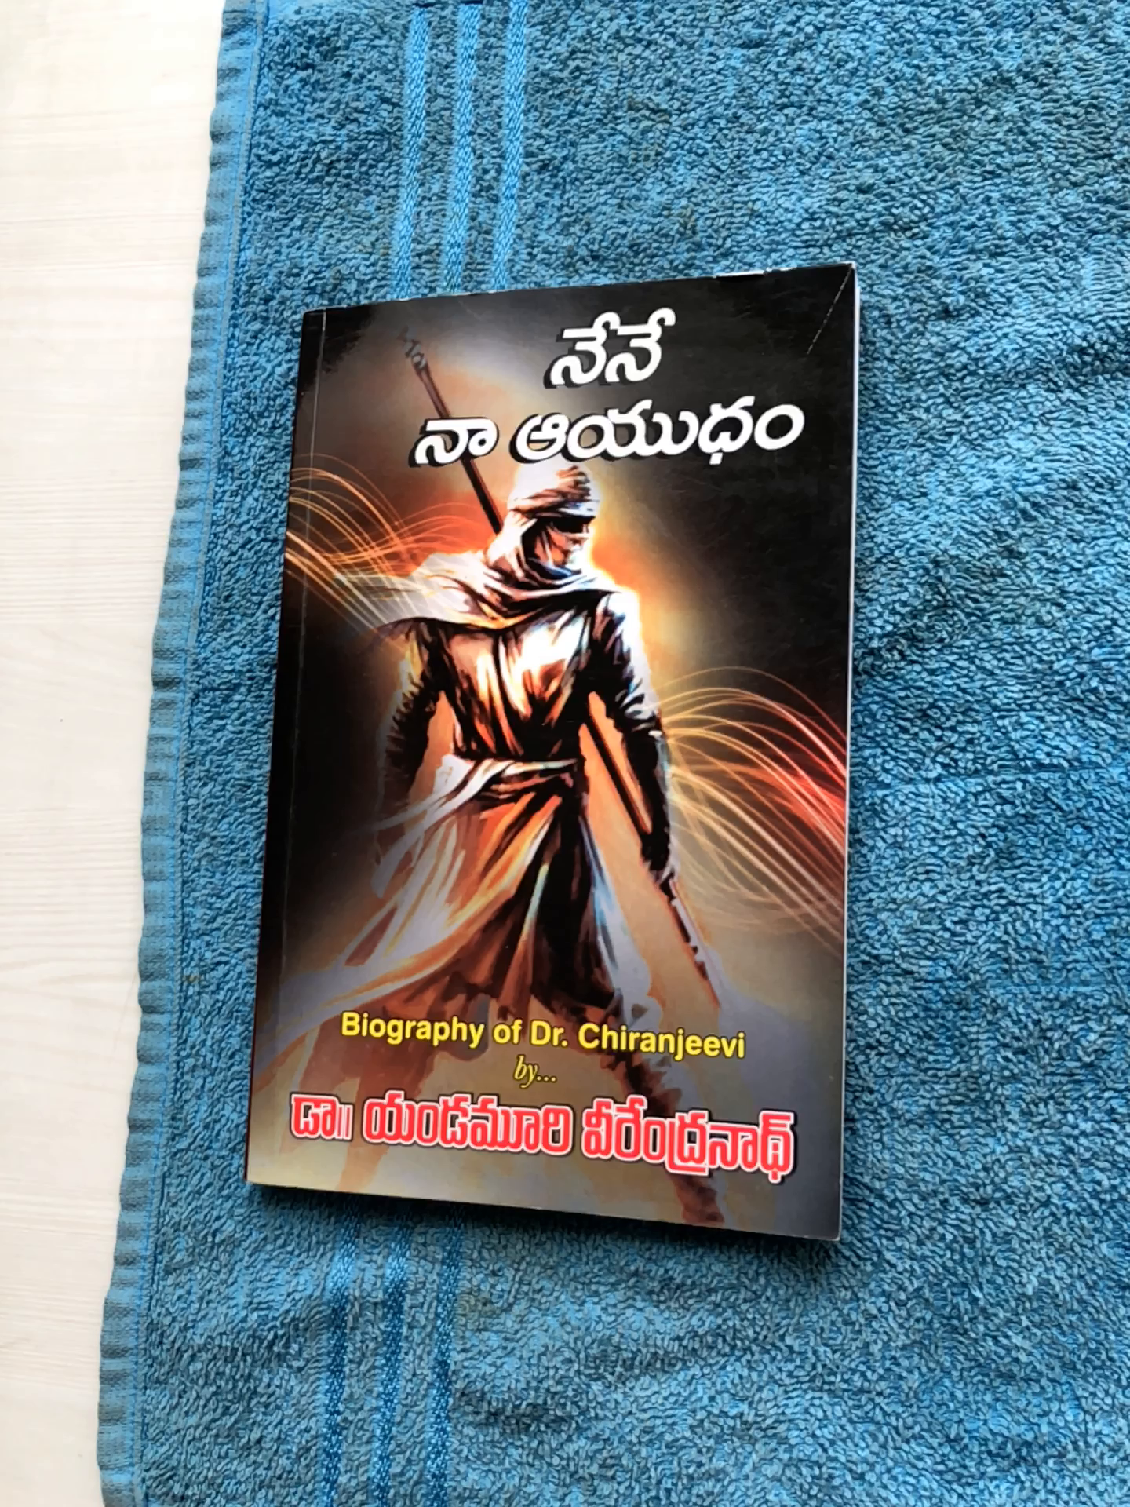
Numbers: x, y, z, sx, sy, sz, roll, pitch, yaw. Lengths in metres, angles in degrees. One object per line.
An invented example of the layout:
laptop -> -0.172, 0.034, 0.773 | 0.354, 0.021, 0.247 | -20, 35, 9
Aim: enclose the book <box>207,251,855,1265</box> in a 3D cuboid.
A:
book -> -0.005, -0.004, 0.301 | 0.140, 0.030, 0.220 | 1, 83, 12
